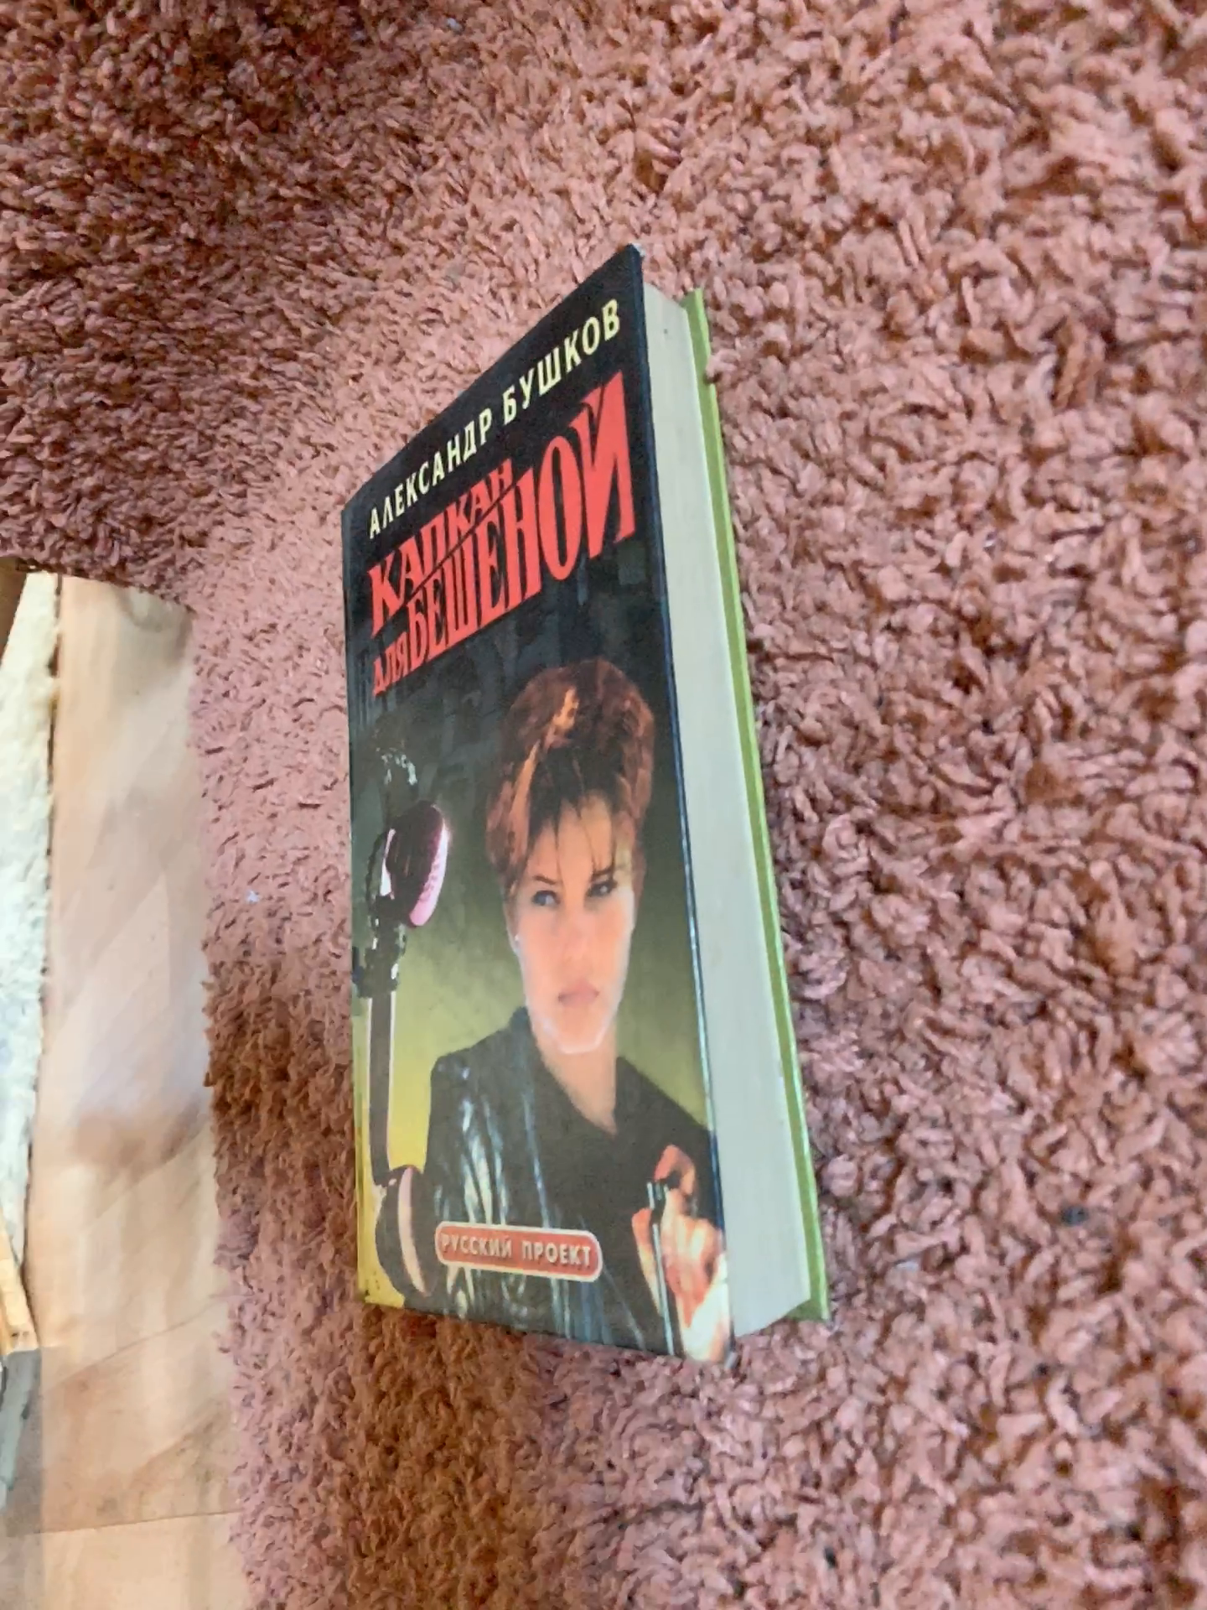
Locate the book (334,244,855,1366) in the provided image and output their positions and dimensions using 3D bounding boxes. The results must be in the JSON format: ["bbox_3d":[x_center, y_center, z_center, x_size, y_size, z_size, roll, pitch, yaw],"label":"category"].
[{"bbox_3d":[-0.015,0.005,0.262,0.125,0.027,0.190,-21,69,51],"label":"book"}]
